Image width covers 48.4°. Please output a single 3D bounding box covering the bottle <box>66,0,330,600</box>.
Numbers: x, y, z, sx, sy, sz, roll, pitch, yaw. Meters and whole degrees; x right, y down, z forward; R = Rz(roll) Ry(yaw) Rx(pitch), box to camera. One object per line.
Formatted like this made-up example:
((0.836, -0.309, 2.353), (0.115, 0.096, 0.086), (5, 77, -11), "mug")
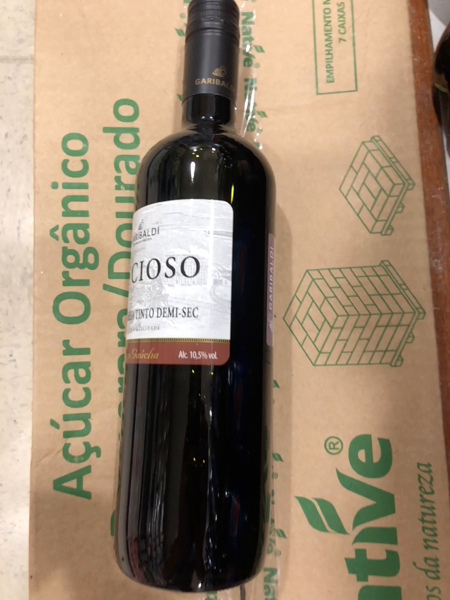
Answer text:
((-0.006, -0.051, 0.239), (0.090, 0.080, 0.340), (3, 81, -4), "bottle")
